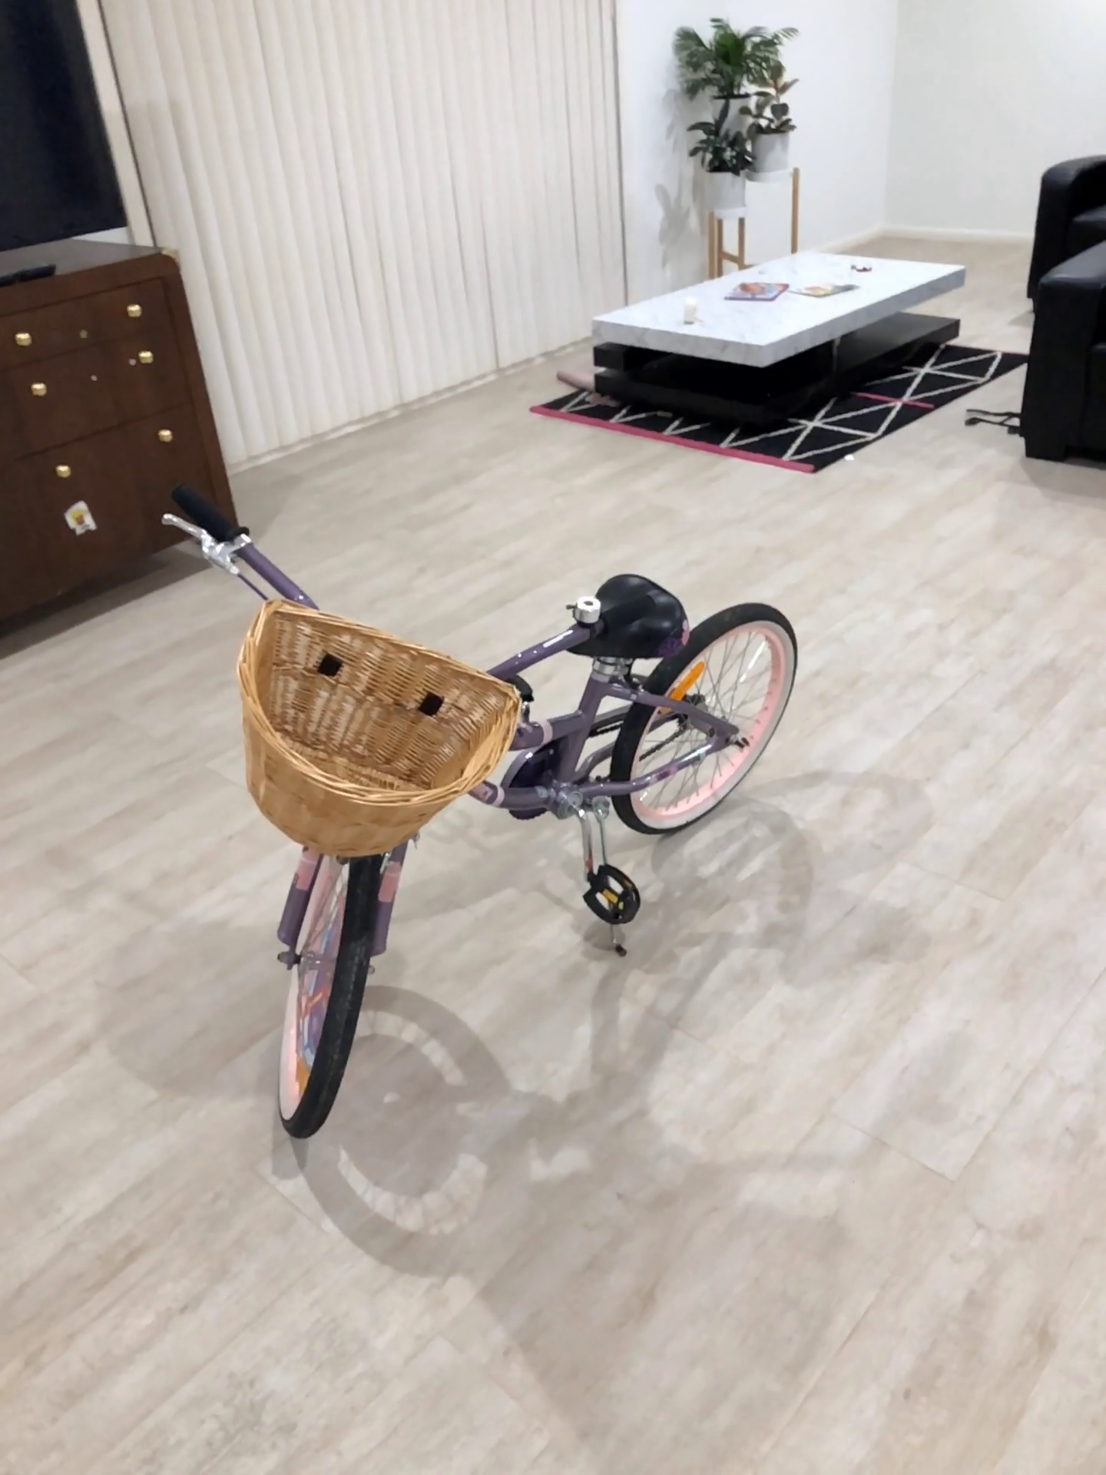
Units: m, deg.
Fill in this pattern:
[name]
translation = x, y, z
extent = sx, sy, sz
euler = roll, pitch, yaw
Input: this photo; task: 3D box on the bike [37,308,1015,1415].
[bike]
translation = 0.047, 0.035, 1.864
extent = 0.748, 0.877, 1.219
euler = 20, 44, 35
